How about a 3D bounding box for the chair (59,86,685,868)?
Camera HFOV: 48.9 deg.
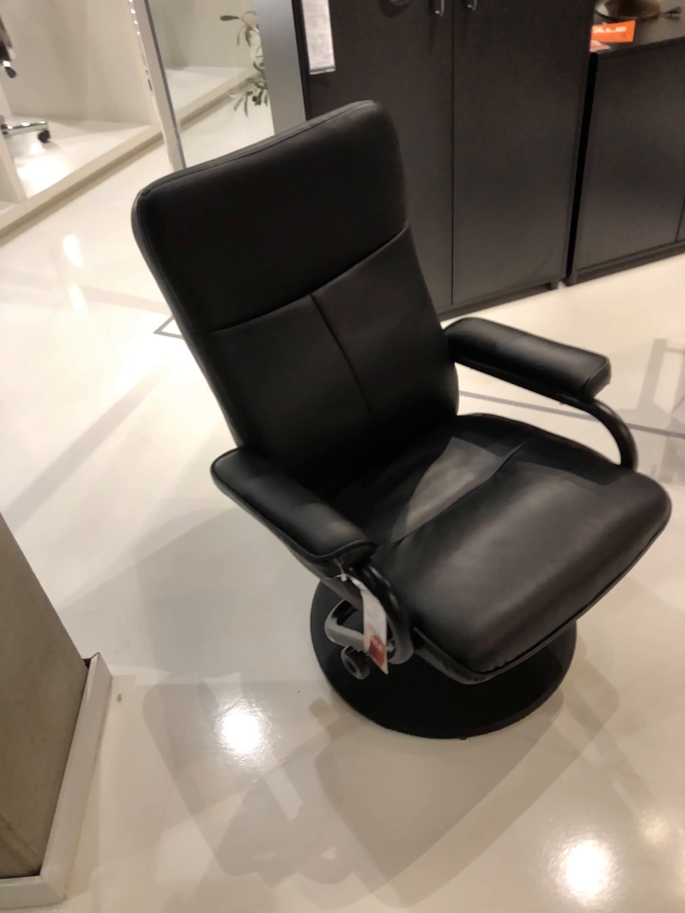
[{"bbox_3d":[0.122,0.010,1.365,0.692,0.992,0.733,-32,47,-26],"label":"chair"}]
